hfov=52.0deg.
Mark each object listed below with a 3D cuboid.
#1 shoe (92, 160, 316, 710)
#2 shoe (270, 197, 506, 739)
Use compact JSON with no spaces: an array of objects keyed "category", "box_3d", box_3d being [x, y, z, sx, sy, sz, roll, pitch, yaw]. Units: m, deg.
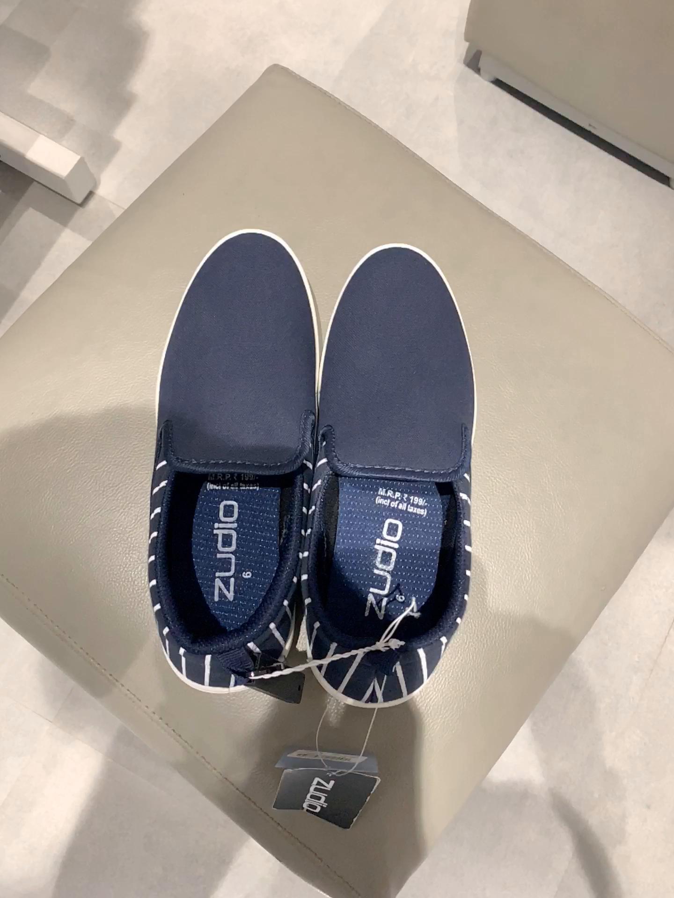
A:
[{"category":"shoe","box_3d":[-0.063,-0.009,0.388,0.100,0.090,0.280,0,78,-2]},{"category":"shoe","box_3d":[0.029,0.008,0.392,0.100,0.090,0.270,5,77,-1]}]
